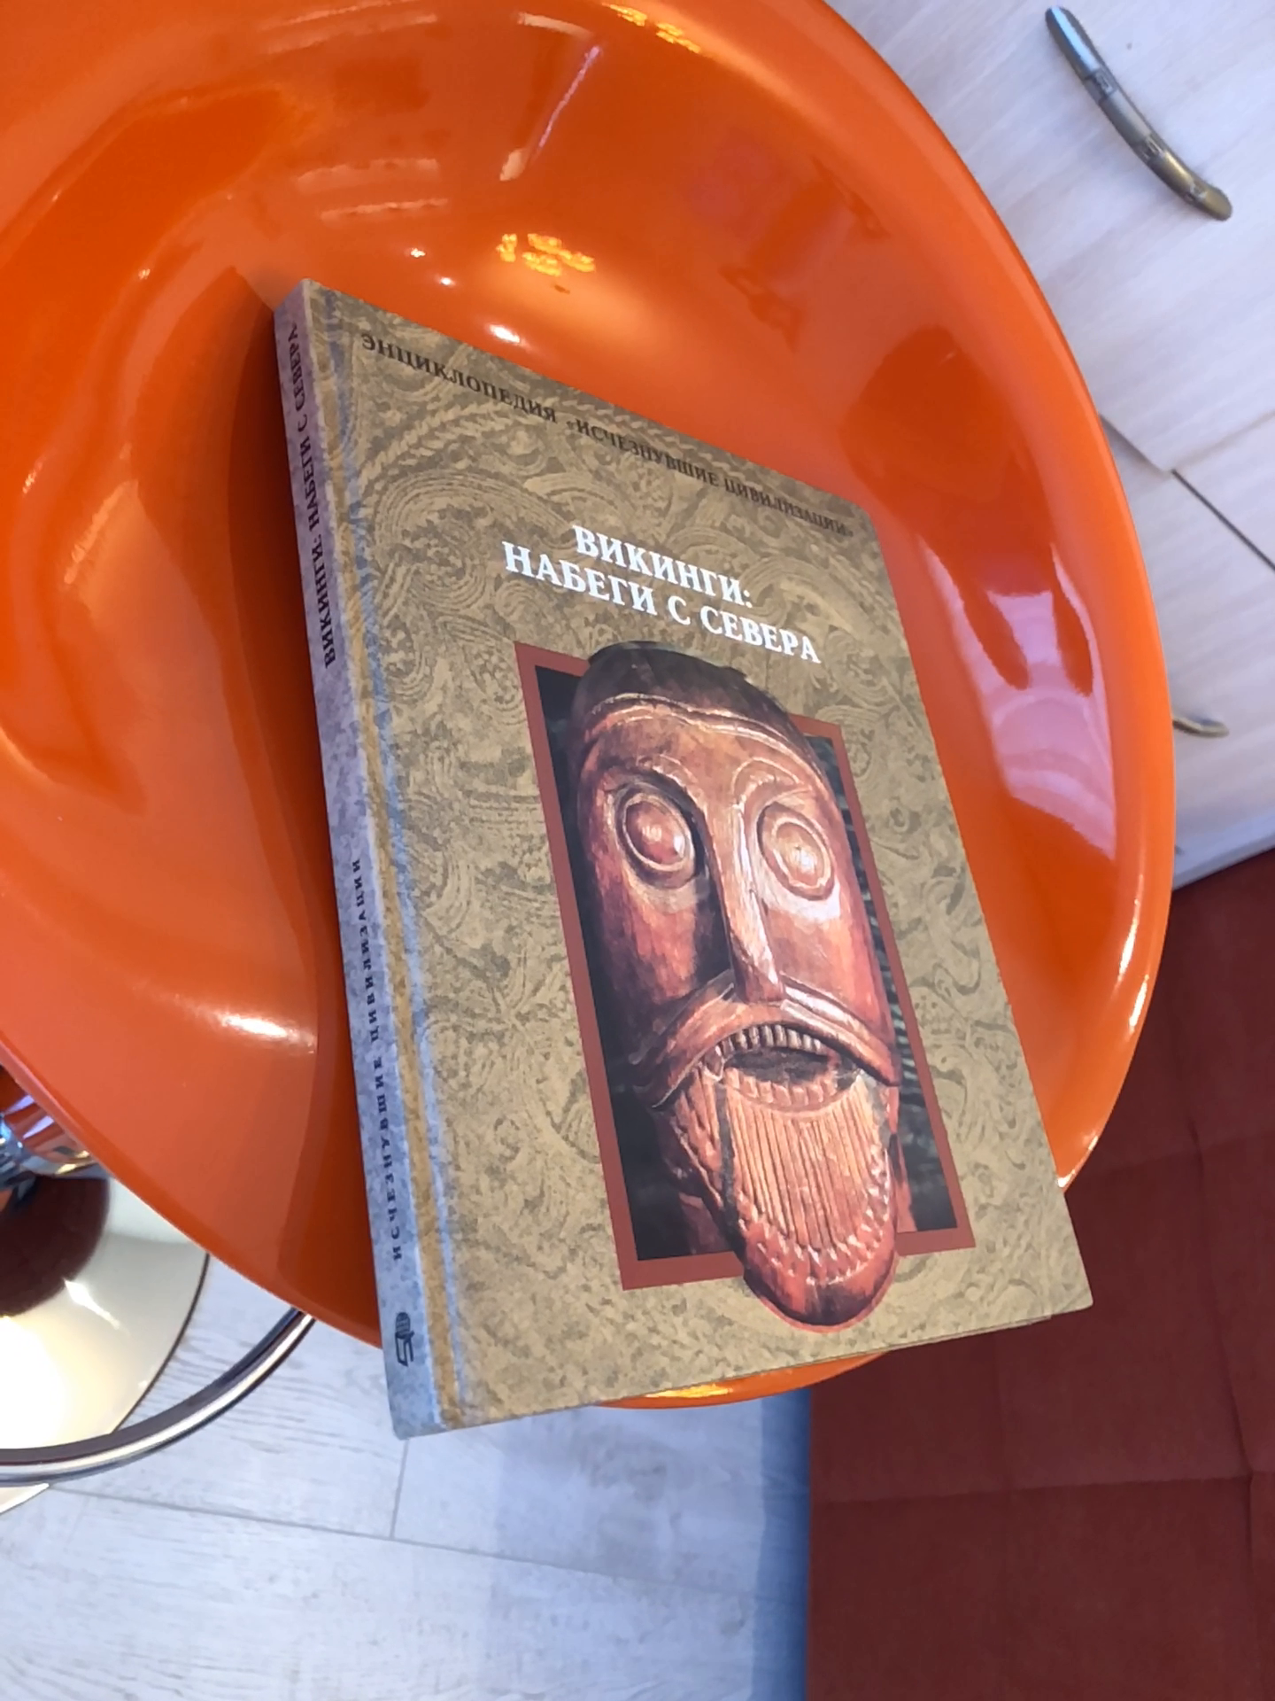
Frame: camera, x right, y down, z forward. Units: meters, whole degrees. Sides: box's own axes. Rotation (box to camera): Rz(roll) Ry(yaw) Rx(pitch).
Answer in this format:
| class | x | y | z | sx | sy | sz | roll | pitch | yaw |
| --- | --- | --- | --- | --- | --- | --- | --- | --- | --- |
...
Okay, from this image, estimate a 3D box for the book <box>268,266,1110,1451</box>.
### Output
| class | x | y | z | sx | sy | sz | roll | pitch | yaw |
| --- | --- | --- | --- | --- | --- | --- | --- | --- | --- |
| book | 0.018 | -0.002 | 0.364 | 0.216 | 0.022 | 0.261 | 10 | 61 | -41 |
